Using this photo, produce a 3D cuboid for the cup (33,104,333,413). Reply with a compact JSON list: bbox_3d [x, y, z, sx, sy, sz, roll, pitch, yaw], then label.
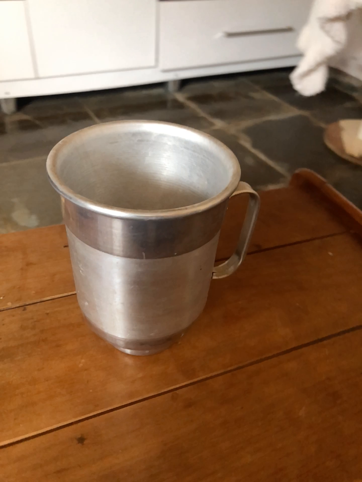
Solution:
[{"bbox_3d":[-0.010,0.005,0.240,0.120,0.129,0.101,-11,42,-18],"label":"cup"}]
